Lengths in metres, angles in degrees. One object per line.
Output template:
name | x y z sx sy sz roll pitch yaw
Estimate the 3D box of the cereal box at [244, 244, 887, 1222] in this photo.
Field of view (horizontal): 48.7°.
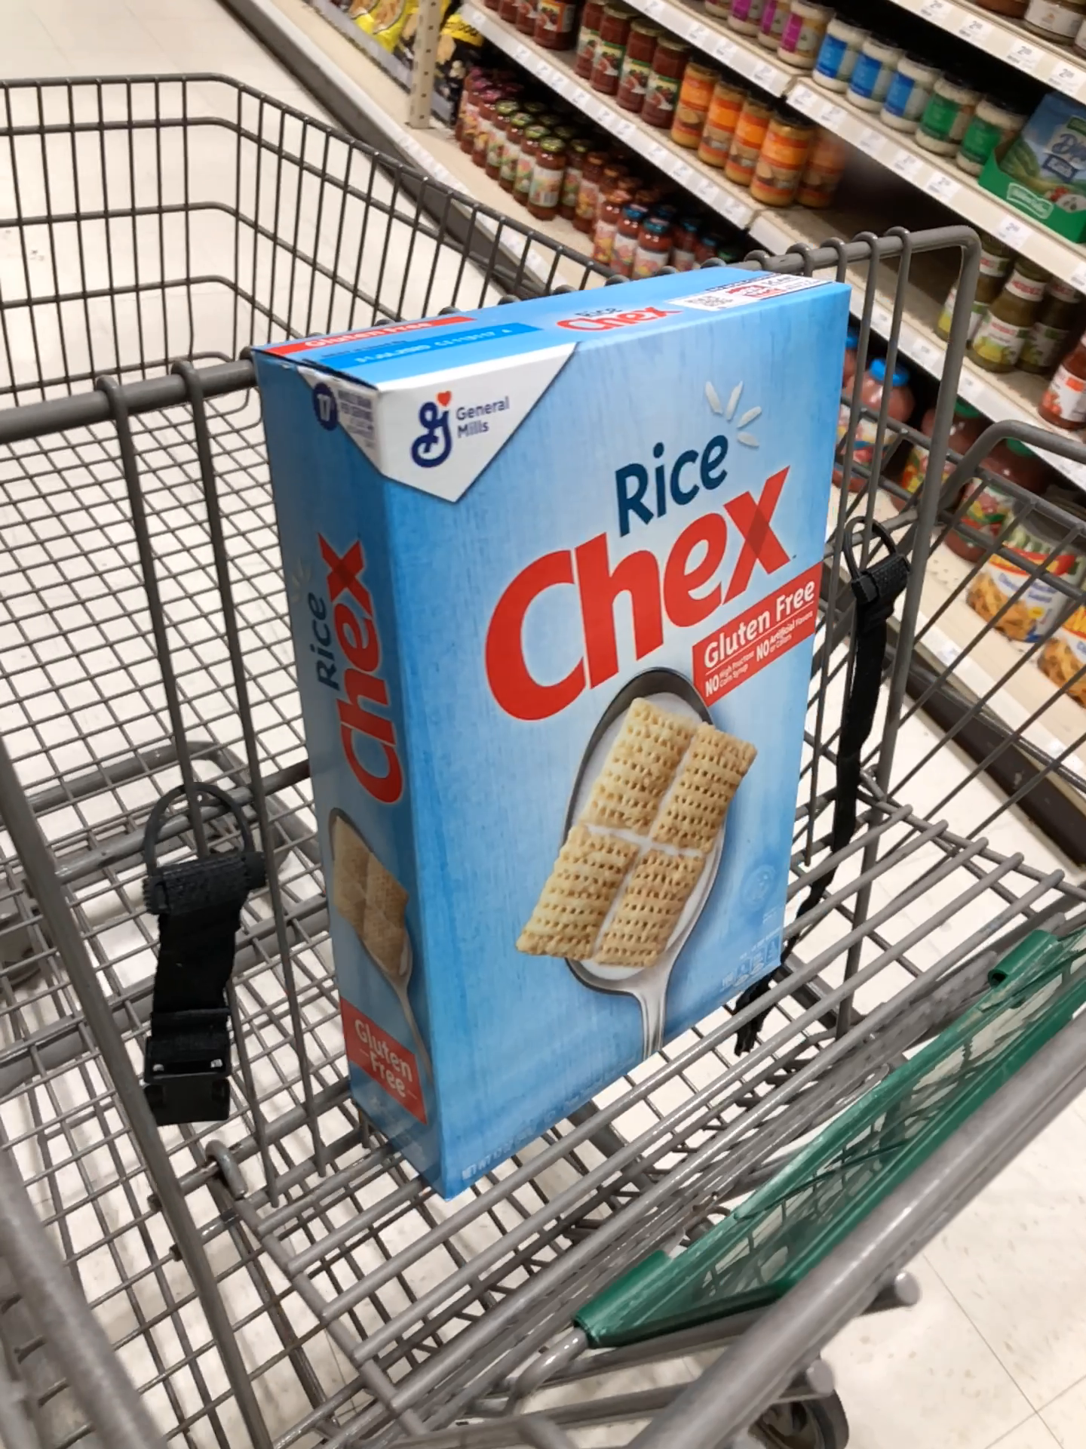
cereal box | 0.020 0.000 0.420 0.200 0.290 0.060 -25 37 -35
